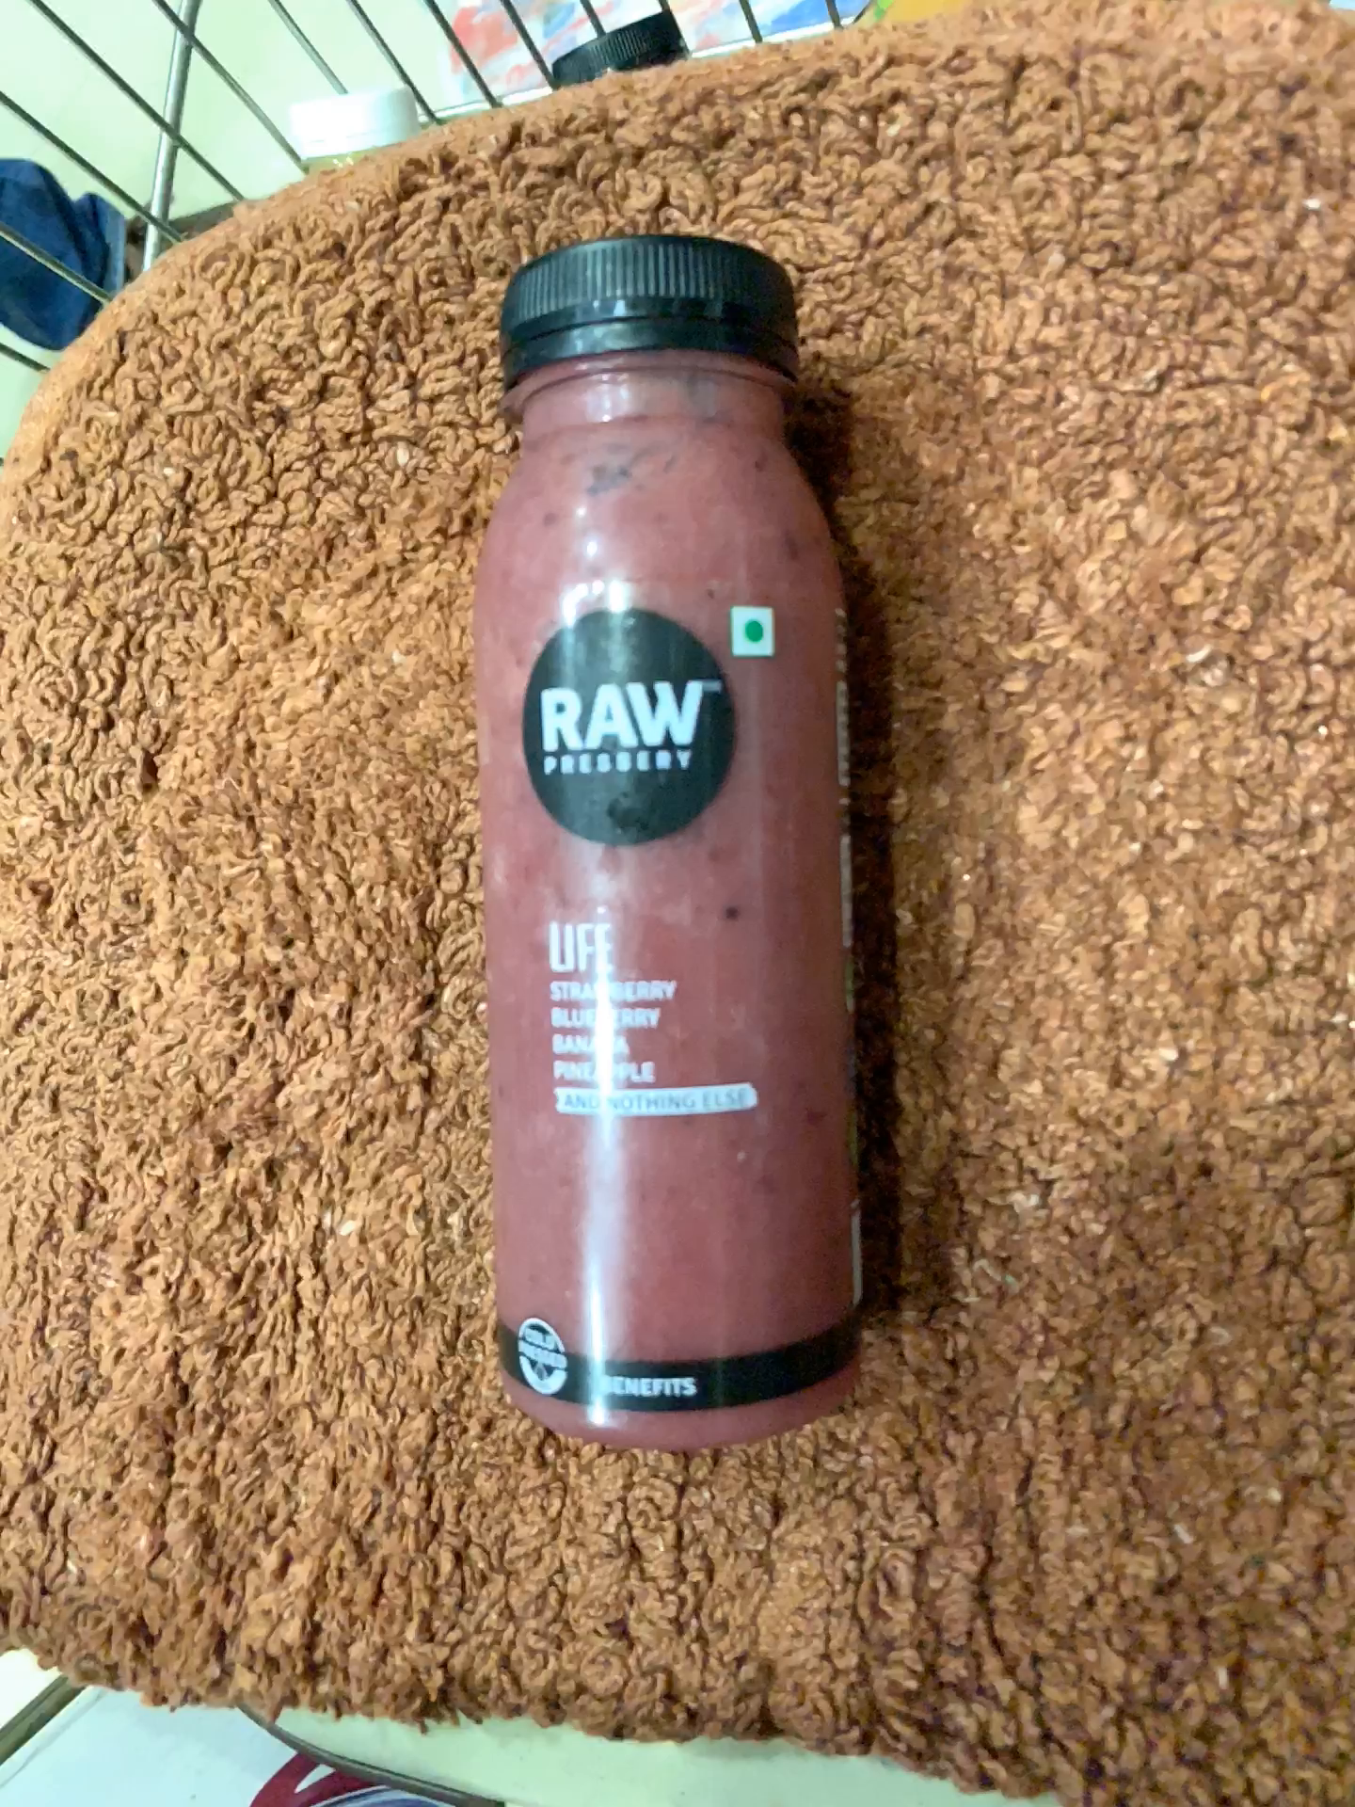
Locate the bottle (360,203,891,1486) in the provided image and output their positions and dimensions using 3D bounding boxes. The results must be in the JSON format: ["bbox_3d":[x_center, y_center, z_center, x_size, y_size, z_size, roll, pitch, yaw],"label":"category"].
[{"bbox_3d":[-0.003,-0.006,0.194,0.060,0.050,0.150,-1,91,11],"label":"bottle"}]
